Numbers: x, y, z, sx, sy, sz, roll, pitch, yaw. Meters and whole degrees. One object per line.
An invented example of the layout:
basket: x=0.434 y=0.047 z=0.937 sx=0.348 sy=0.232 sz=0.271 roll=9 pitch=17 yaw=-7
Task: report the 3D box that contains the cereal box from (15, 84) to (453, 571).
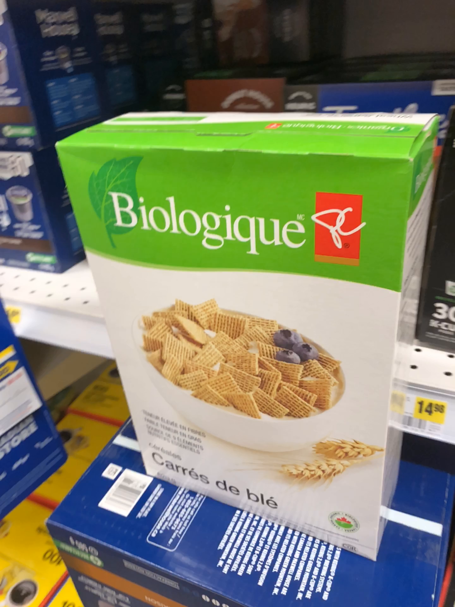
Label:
cereal box: x=0.011 y=0.021 z=0.331 sx=0.210 sy=0.289 sz=0.070 roll=11 pitch=38 yaw=27
